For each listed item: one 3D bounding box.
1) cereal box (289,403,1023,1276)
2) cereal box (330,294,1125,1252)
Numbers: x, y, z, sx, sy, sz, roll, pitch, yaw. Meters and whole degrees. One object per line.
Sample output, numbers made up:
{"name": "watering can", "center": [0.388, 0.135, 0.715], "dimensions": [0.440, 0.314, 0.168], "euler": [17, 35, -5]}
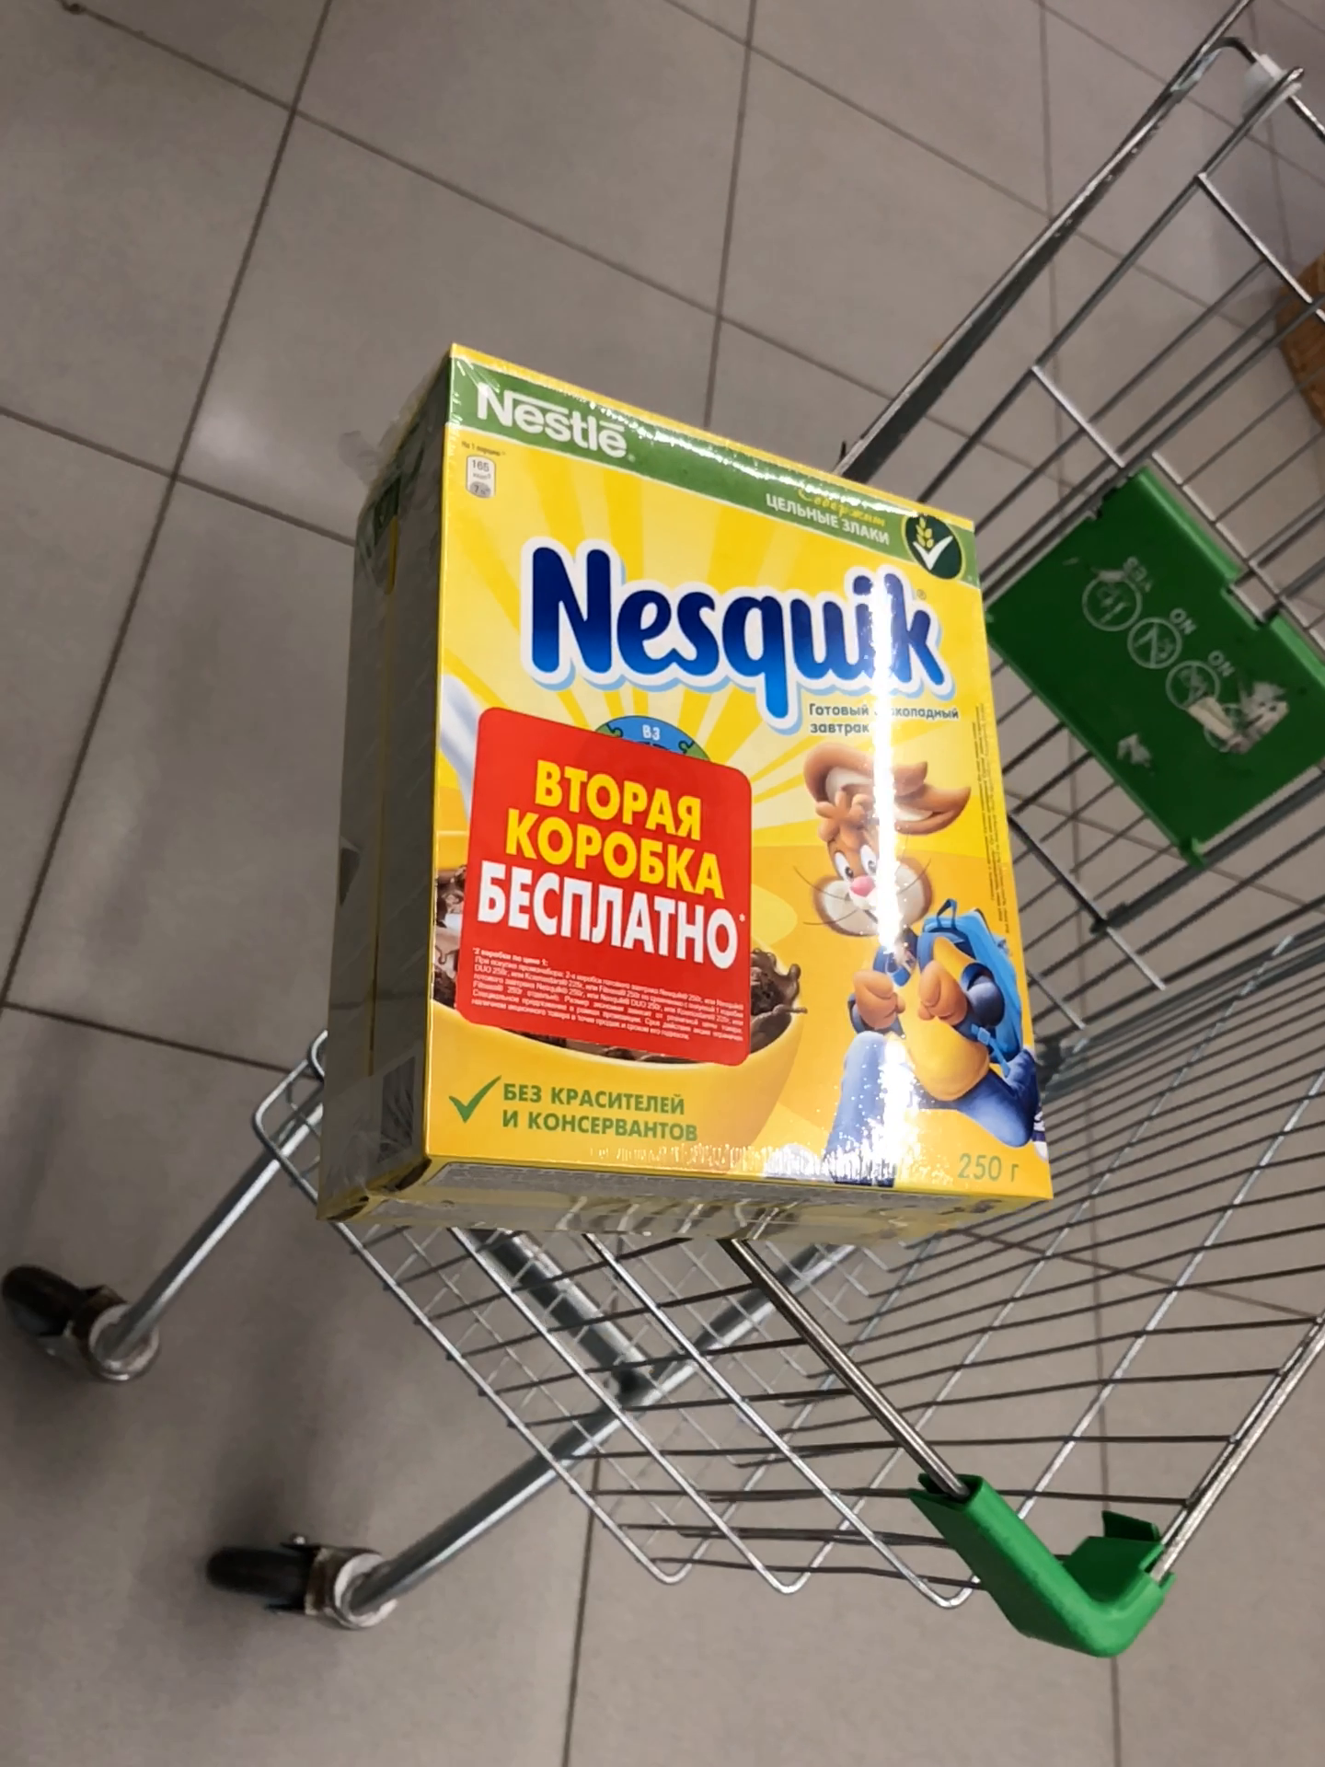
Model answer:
{"name": "cereal box", "center": [0.002, -0.006, 0.459], "dimensions": [0.211, 0.050, 0.240], "euler": [10, 65, -28]}
{"name": "cereal box", "center": [0.021, -0.024, 0.422], "dimensions": [0.211, 0.050, 0.240], "euler": [10, 65, -28]}
